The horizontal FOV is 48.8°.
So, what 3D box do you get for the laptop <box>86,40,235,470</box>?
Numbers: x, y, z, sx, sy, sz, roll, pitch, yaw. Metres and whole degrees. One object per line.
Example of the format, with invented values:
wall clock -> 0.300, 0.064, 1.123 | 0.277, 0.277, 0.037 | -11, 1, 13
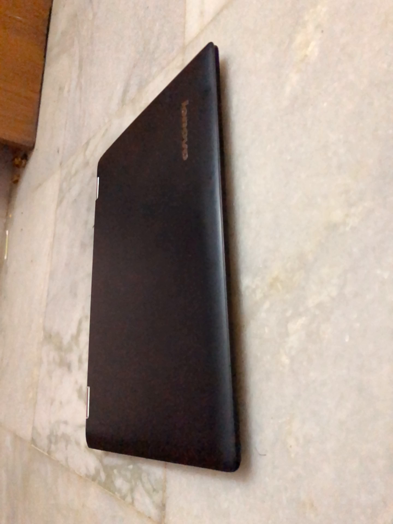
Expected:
laptop -> -0.047, 0.000, 0.398 | 0.223, 0.002, 0.328 | -24, 61, 50
